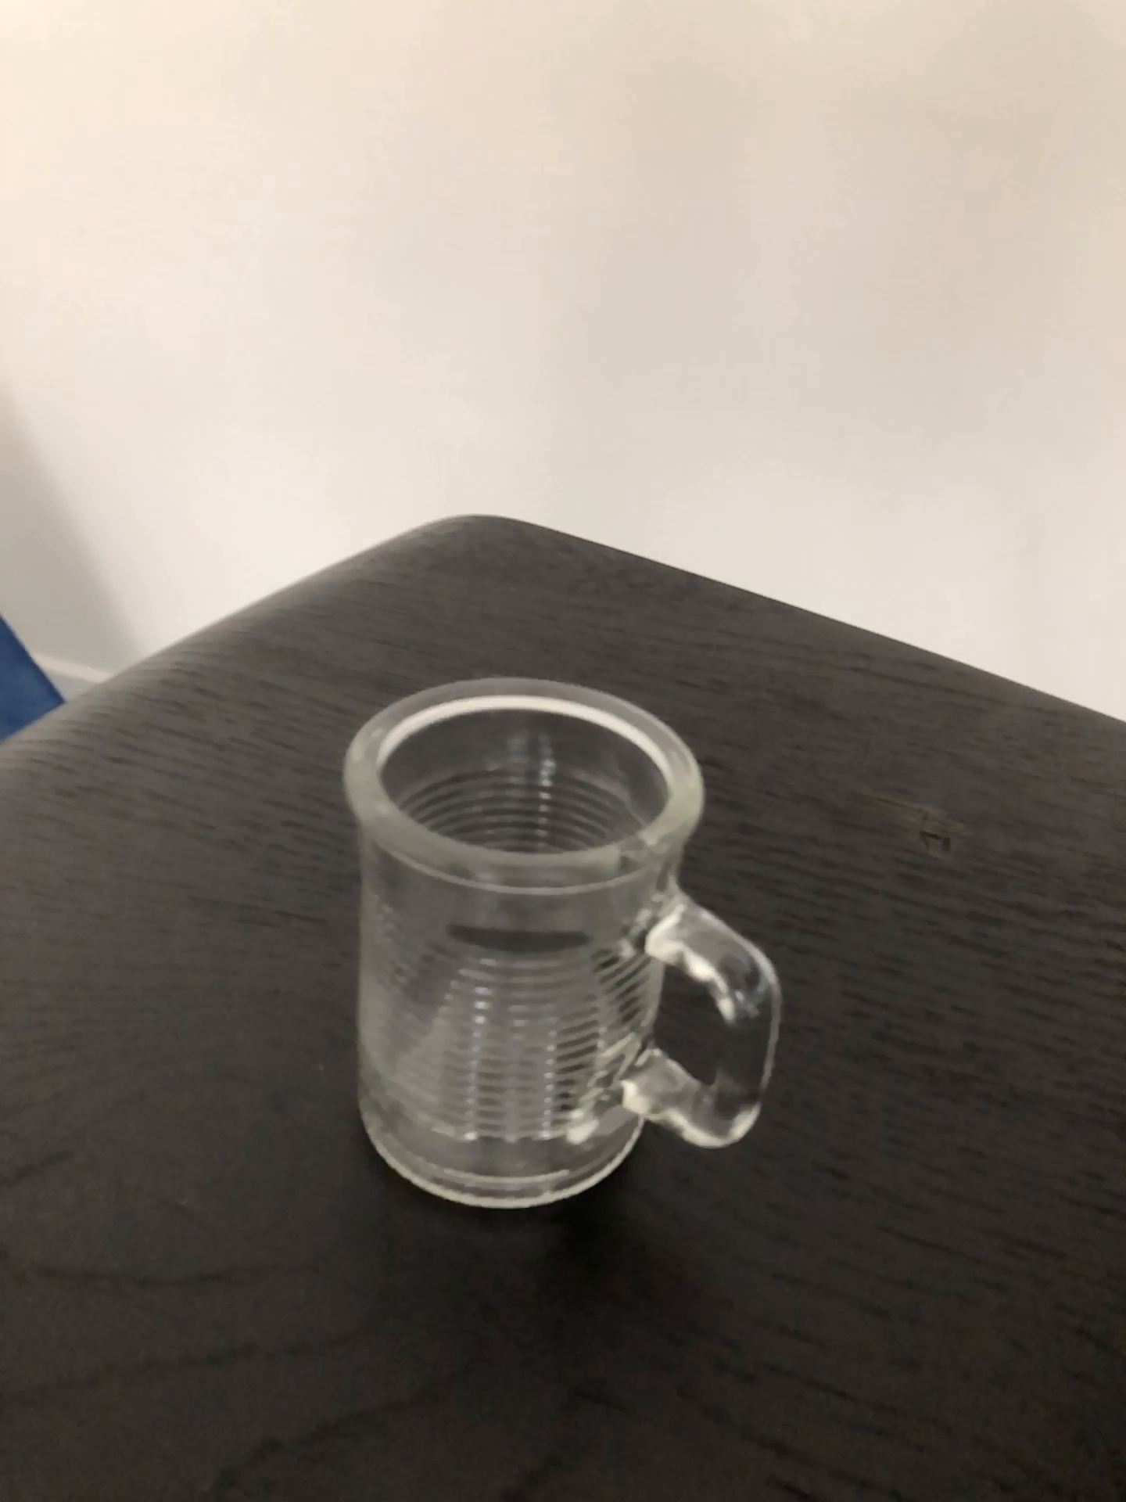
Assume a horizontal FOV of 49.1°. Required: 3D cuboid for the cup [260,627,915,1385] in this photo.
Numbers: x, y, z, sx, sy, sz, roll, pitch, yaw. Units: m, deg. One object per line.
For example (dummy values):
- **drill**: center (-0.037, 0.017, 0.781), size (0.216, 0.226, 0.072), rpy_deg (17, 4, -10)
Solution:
- **cup**: center (0.000, 0.039, 0.221), size (0.060, 0.080, 0.090), rpy_deg (-26, 42, -35)
